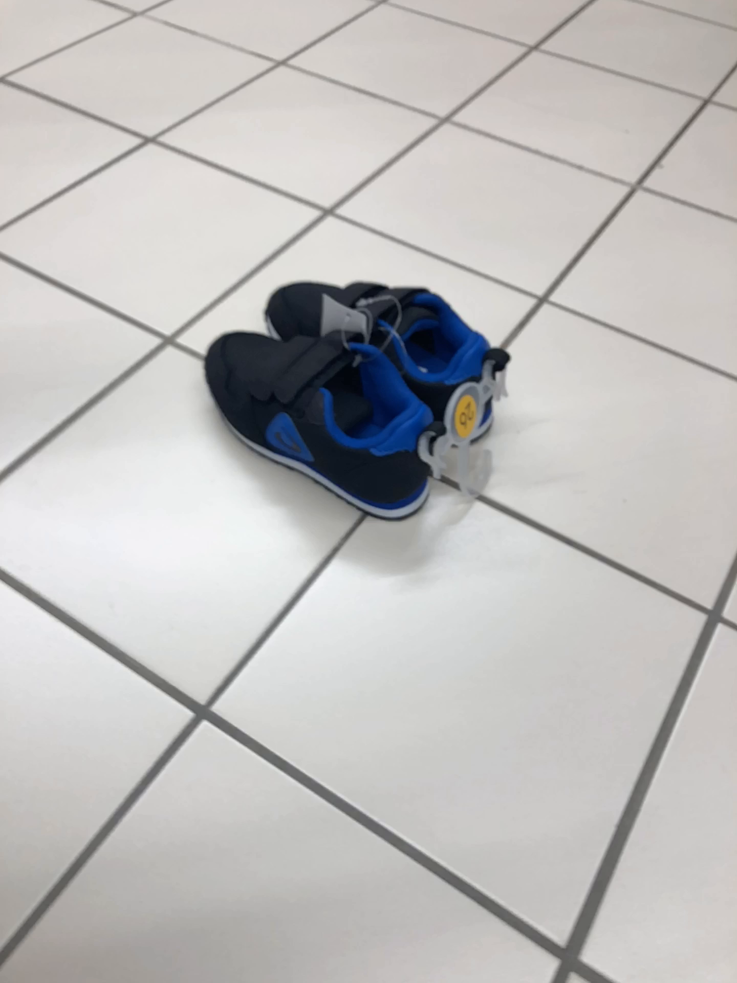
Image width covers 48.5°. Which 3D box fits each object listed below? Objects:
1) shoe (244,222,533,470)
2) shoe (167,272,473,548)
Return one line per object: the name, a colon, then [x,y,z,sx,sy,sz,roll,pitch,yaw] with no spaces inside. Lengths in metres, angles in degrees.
shoe: [0.009,-0.099,0.539,0.174,0.073,0.068,31,56,21]
shoe: [-0.032,-0.053,0.500,0.174,0.073,0.067,32,56,22]
